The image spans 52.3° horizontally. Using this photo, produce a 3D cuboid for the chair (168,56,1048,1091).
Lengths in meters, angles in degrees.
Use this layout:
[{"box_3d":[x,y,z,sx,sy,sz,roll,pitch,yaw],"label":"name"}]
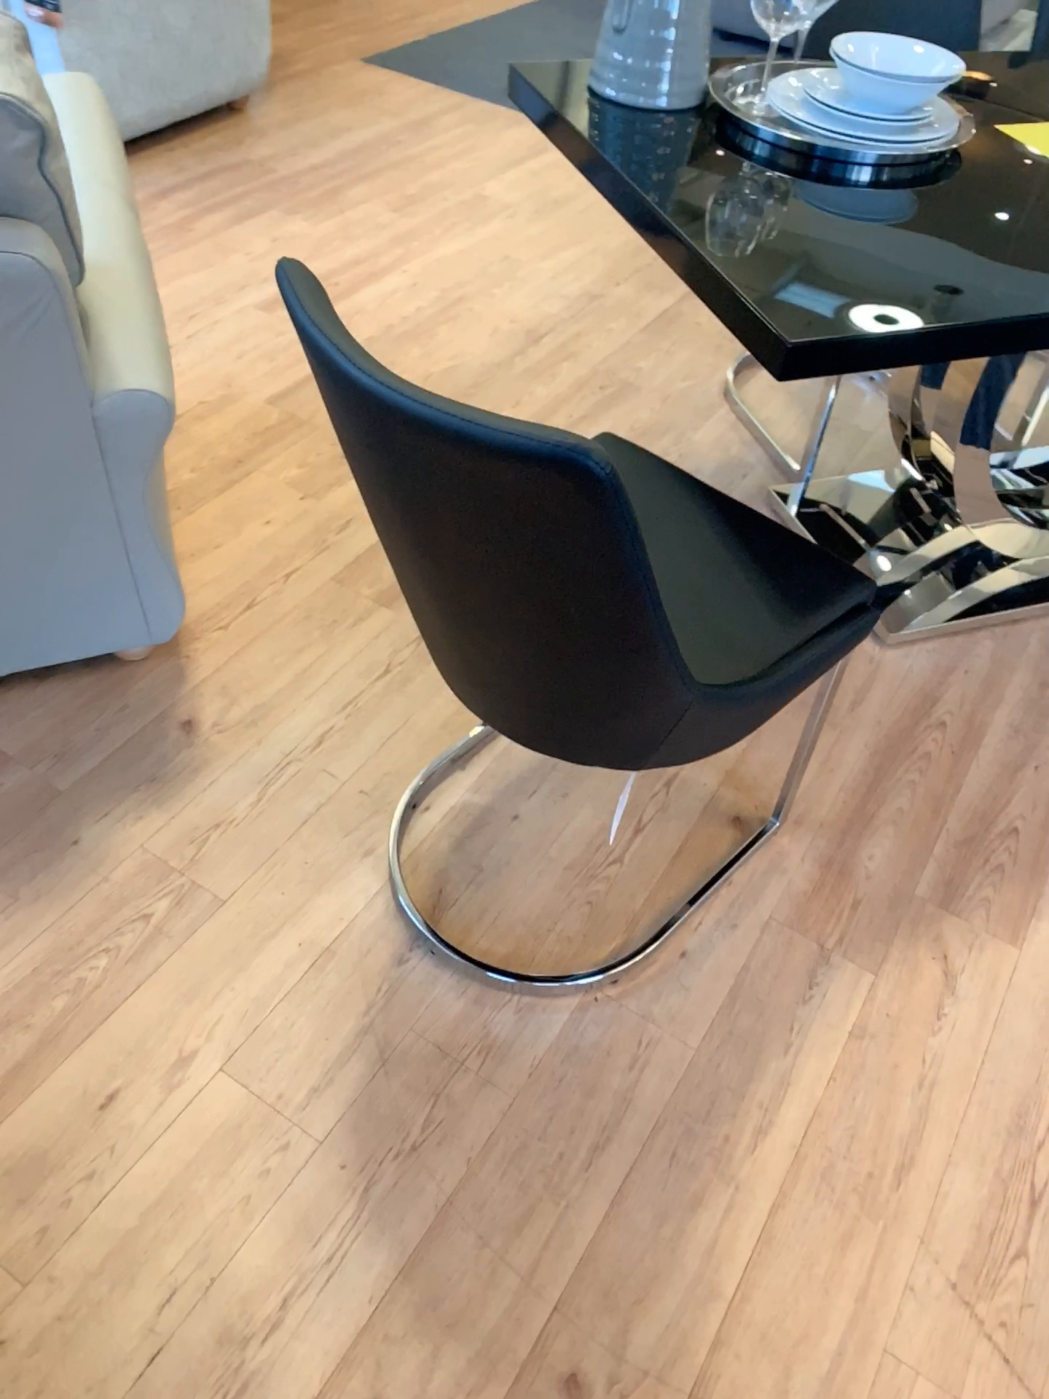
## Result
[{"box_3d":[0.091,-0.139,1.185,0.507,0.812,0.633,34,52,25],"label":"chair"}]
